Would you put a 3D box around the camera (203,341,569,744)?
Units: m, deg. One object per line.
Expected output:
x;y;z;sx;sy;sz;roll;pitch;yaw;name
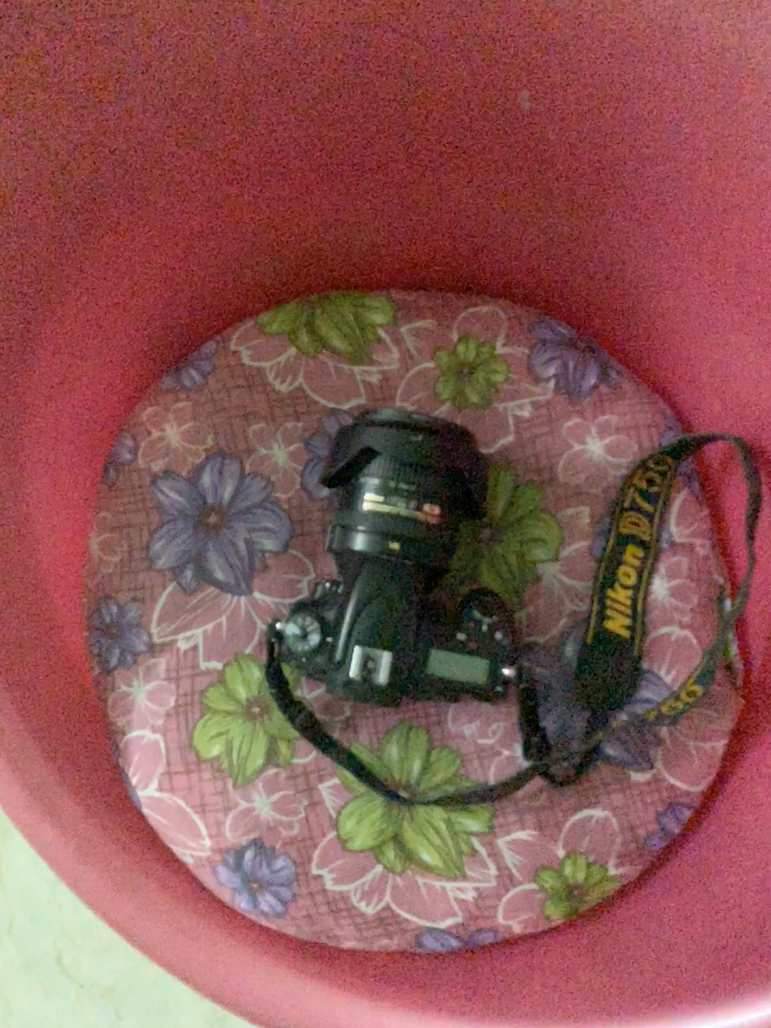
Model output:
0.006;0.018;0.489;0.166;0.130;0.191;11;86;6;camera
